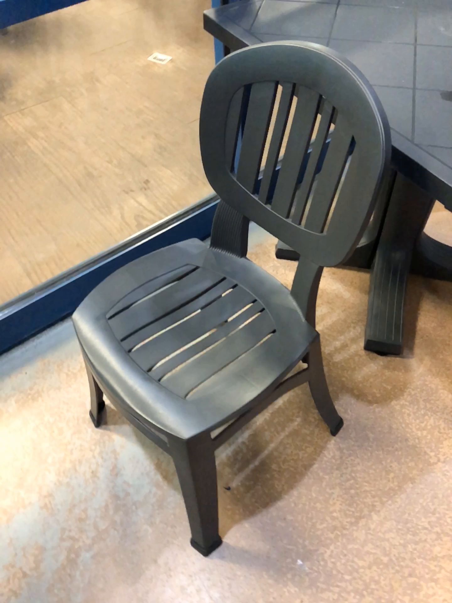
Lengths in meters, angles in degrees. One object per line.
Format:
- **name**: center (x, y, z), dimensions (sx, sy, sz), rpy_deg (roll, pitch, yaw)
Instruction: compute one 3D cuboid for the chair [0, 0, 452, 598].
- **chair**: center (-0.029, 0.011, 0.824), dimensions (0.551, 0.736, 0.502), rpy_deg (-37, 59, -23)
